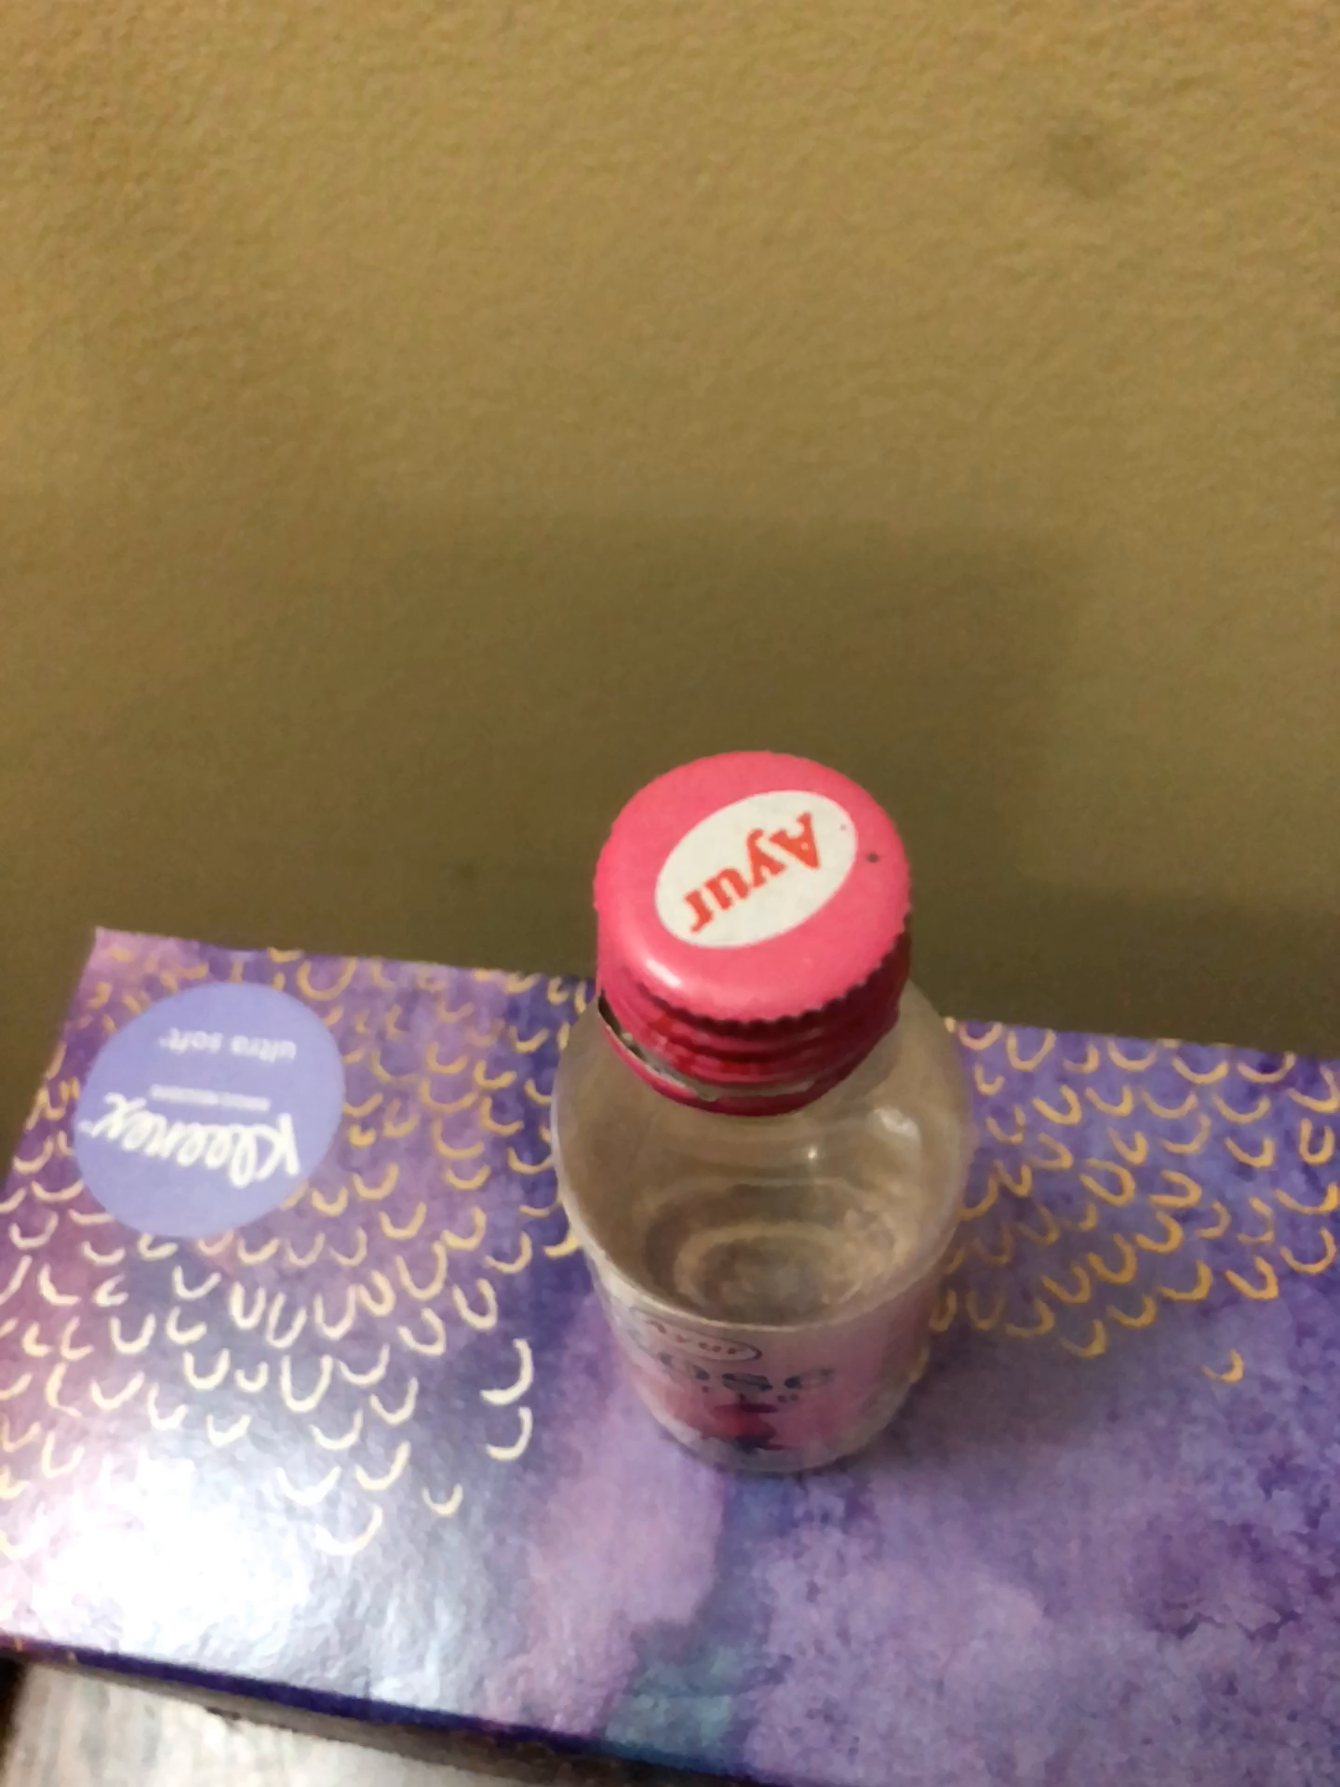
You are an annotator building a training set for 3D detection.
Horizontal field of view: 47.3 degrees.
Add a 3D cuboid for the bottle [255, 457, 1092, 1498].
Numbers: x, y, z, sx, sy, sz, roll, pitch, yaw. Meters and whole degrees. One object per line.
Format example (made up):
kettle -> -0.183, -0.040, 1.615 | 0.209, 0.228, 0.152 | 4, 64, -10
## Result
bottle -> 0.004, 0.017, 0.139 | 0.040, 0.100, 0.040 | -2, 58, 3
